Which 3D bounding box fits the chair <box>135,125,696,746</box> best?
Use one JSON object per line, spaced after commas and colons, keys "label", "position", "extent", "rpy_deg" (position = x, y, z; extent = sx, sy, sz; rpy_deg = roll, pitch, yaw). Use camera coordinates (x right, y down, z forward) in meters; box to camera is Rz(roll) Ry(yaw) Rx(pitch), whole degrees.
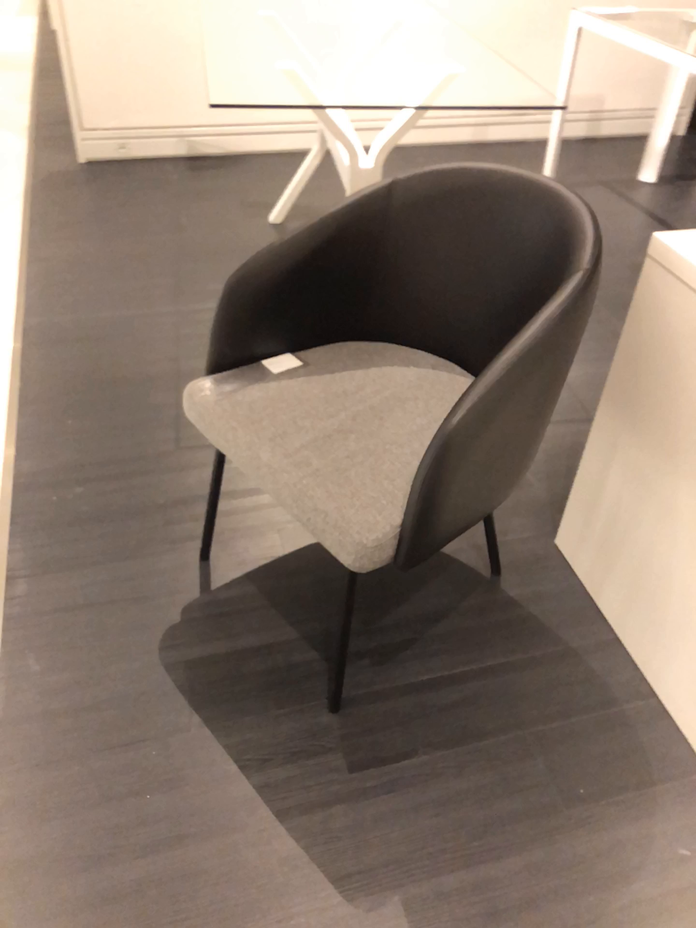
{"label": "chair", "position": [0.075, -0.087, 1.390], "extent": [0.592, 0.764, 0.613], "rpy_deg": [-24, 47, -30]}
